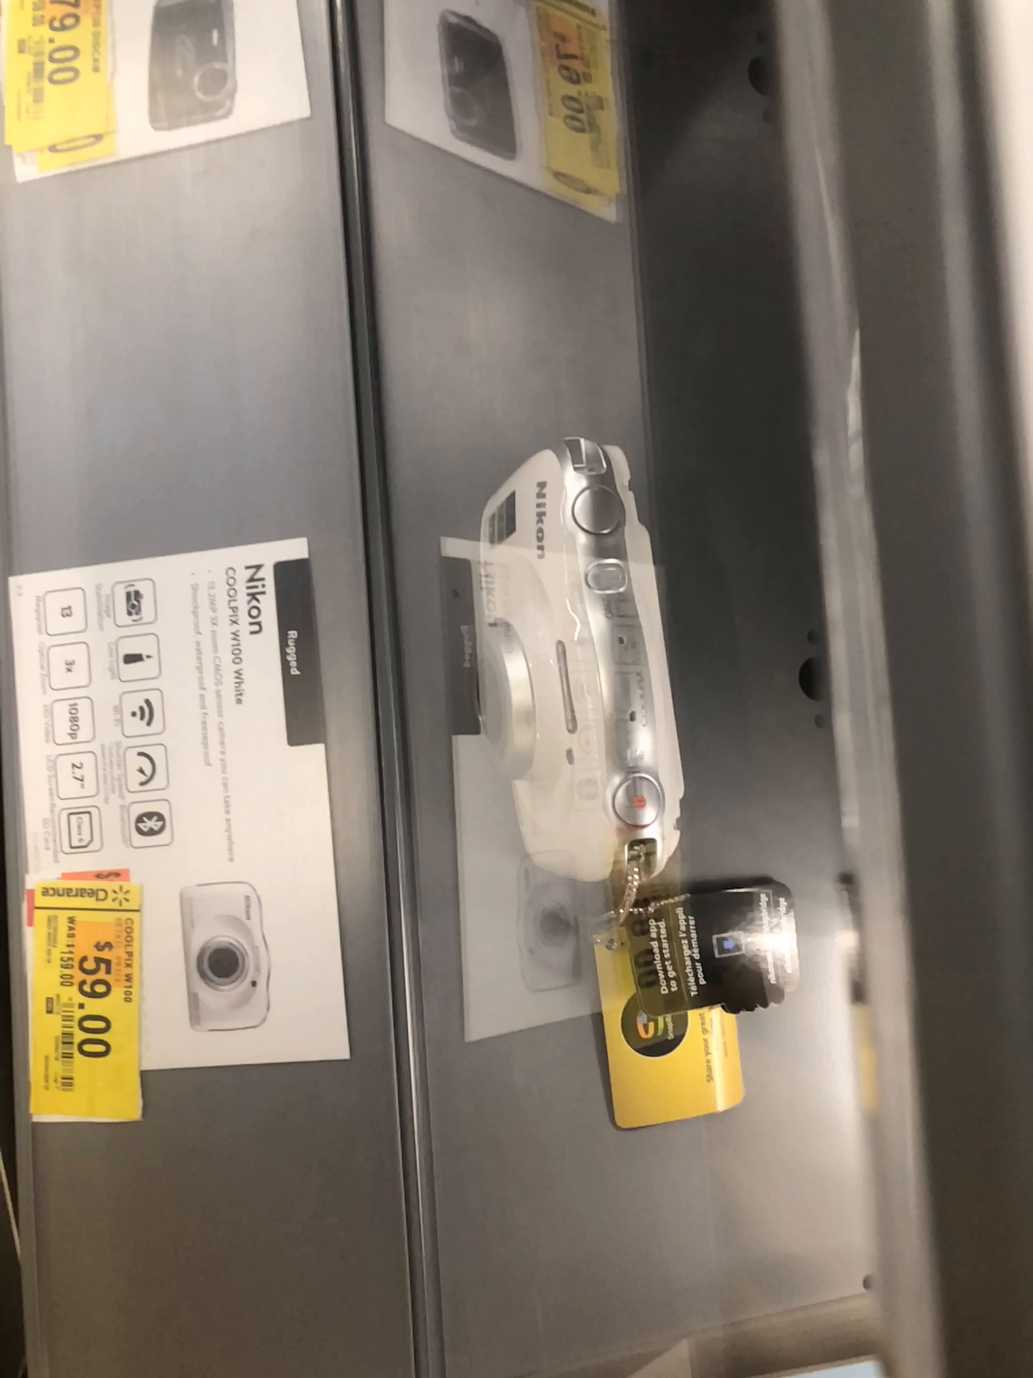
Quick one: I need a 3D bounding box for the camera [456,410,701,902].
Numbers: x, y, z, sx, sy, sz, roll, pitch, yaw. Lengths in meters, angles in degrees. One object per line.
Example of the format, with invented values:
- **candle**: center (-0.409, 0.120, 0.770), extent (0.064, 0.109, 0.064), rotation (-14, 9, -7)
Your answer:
- **camera**: center (0.013, -0.006, 0.289), extent (0.030, 0.060, 0.110), rotation (-7, 87, -16)
